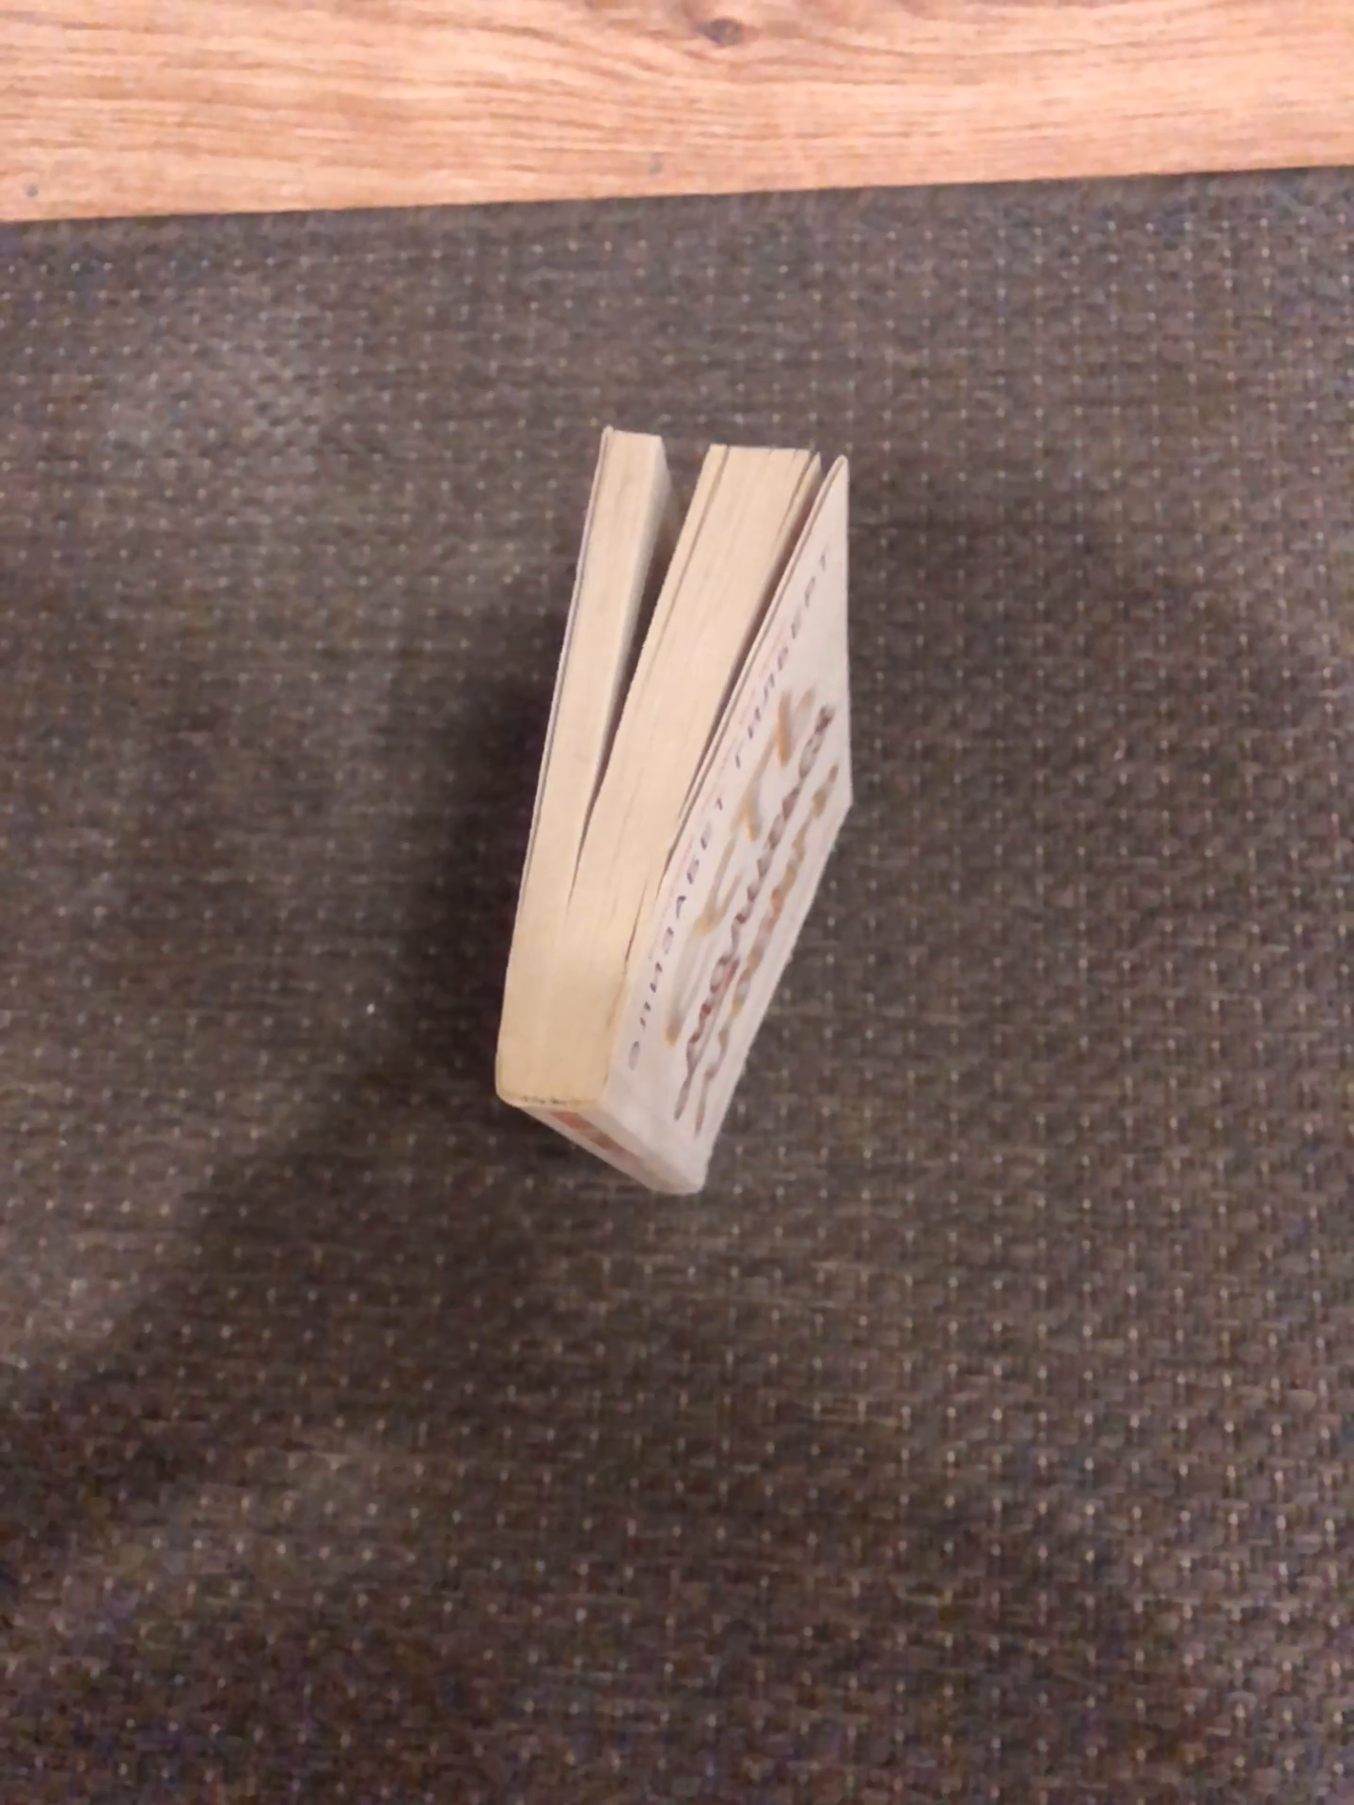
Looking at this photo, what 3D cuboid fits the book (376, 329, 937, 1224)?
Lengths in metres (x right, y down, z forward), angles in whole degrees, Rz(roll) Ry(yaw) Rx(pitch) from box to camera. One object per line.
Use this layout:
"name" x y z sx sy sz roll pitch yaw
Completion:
"book" 0.006 -0.010 0.400 0.068 0.214 0.161 15 76 8
